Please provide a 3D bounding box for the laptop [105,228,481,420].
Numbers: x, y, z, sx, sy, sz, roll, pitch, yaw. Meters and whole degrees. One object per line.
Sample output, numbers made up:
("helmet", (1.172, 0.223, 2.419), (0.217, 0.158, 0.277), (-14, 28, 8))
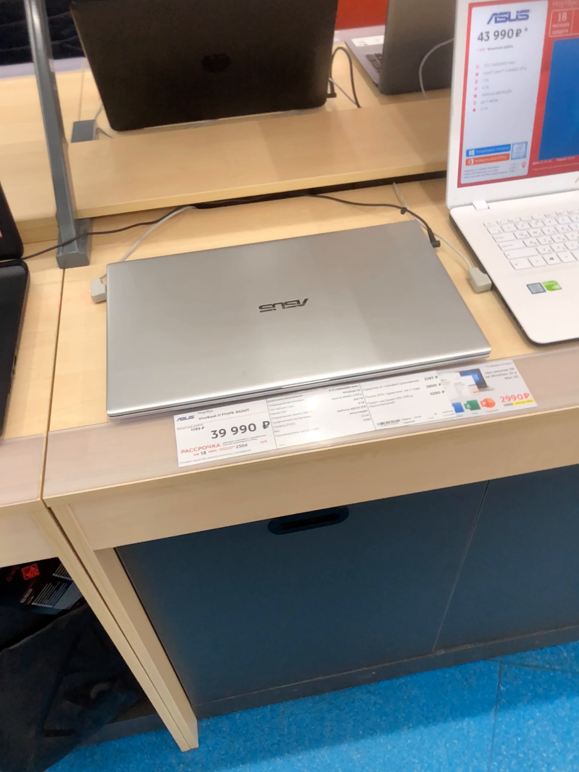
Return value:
("laptop", (-0.012, -0.086, 0.728), (0.391, 0.006, 0.233), (-9, 49, -6))
